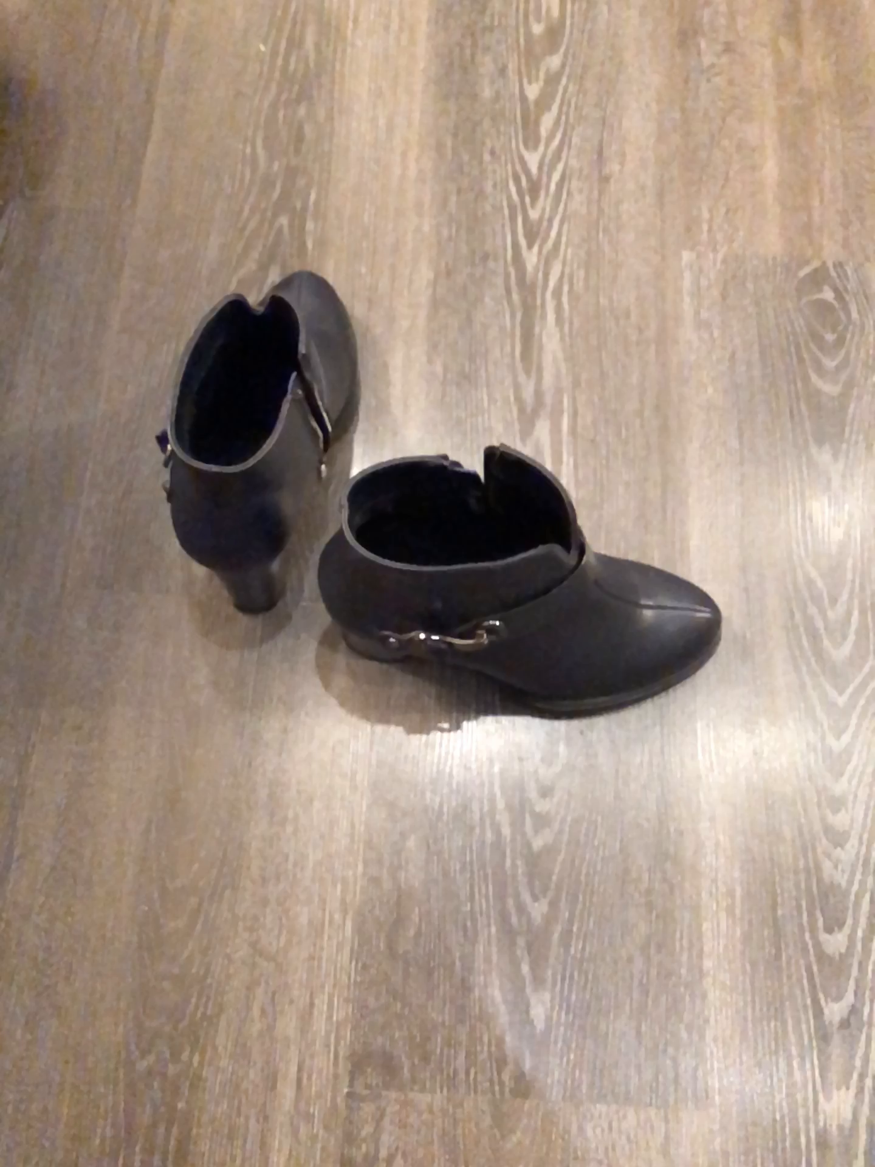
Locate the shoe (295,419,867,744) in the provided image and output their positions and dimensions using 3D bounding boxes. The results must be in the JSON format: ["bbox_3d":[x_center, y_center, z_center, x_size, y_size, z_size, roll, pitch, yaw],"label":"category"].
[{"bbox_3d":[0.058,0.012,0.498,0.230,0.200,0.090,5,72,0],"label":"shoe"}]

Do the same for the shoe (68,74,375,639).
[{"bbox_3d":[-0.098,-0.109,0.526,0.090,0.180,0.231,7,71,1],"label":"shoe"}]
